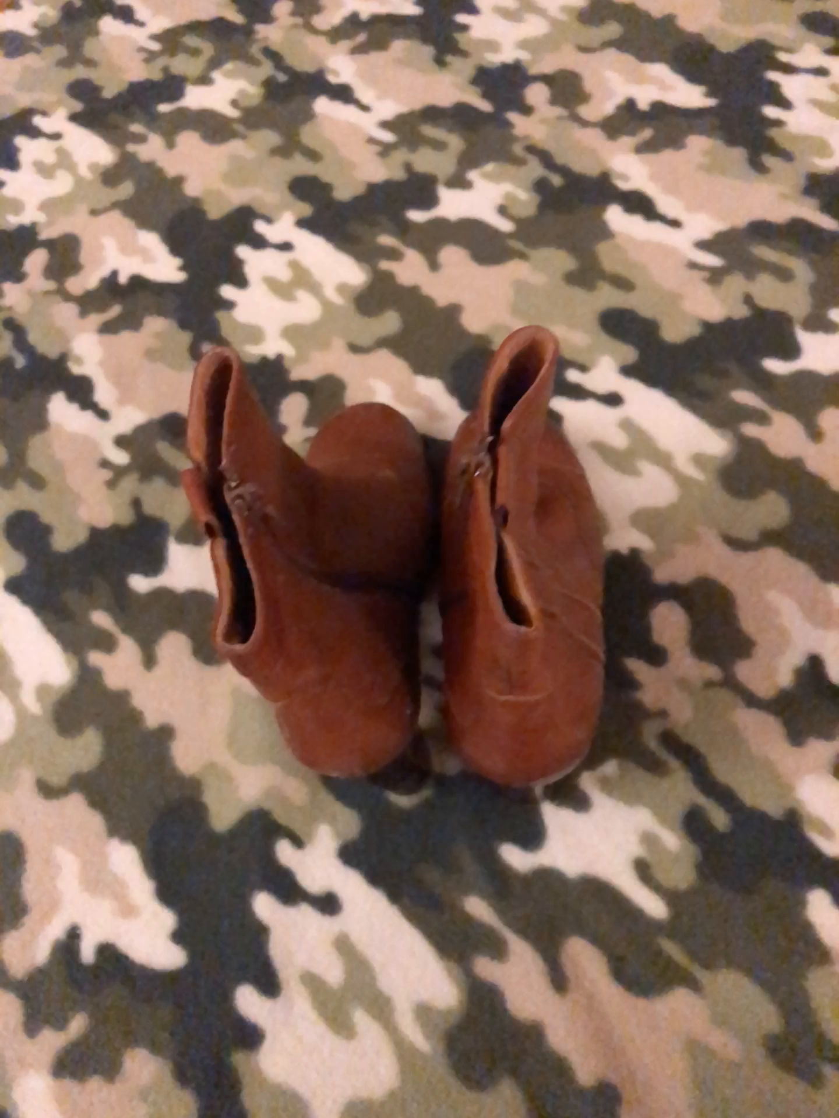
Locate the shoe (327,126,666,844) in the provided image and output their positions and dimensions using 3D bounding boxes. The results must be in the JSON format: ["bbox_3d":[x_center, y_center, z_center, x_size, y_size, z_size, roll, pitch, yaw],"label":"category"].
[{"bbox_3d":[0.037,-0.017,0.381,0.090,0.189,0.221,-4,60,9],"label":"shoe"}]

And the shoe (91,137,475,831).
[{"bbox_3d":[-0.039,-0.020,0.398,0.090,0.189,0.221,-6,60,7],"label":"shoe"}]
